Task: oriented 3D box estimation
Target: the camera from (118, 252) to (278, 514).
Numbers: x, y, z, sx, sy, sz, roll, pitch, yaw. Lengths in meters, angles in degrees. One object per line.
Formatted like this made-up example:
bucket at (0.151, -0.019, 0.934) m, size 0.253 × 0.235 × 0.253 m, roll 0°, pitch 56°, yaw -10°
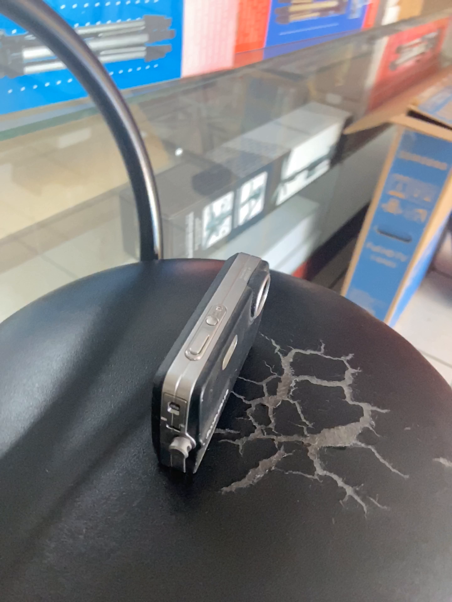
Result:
camera at (-0.009, 0.032, 0.215) m, size 0.030 × 0.060 × 0.101 m, roll 18°, pitch 41°, yaw 12°
